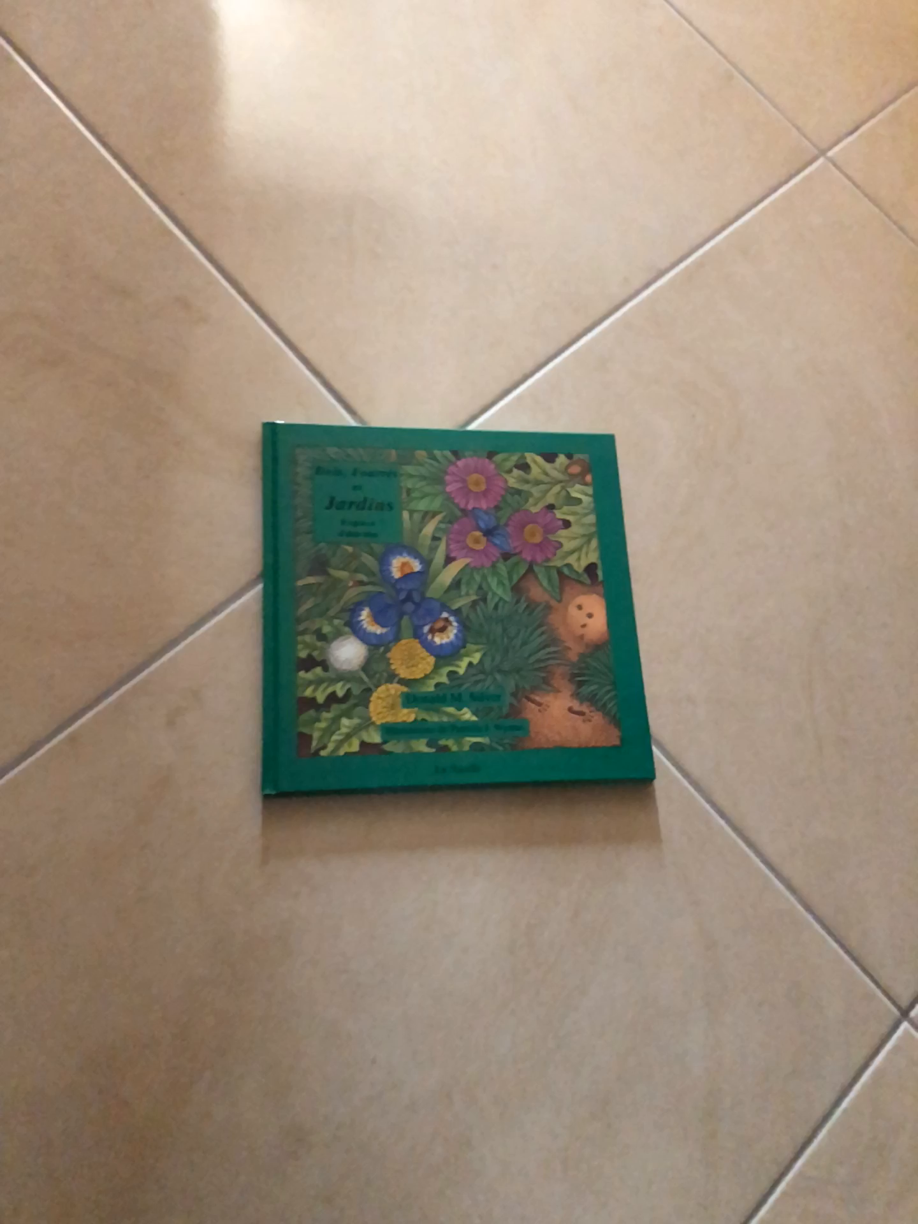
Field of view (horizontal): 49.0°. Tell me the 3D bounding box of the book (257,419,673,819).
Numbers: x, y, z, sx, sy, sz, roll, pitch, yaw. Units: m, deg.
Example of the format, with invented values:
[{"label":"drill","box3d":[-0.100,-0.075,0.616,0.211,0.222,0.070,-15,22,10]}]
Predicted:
[{"label":"book","box3d":[-0.002,-0.001,0.623,0.240,0.030,0.240,0,72,-11]}]
